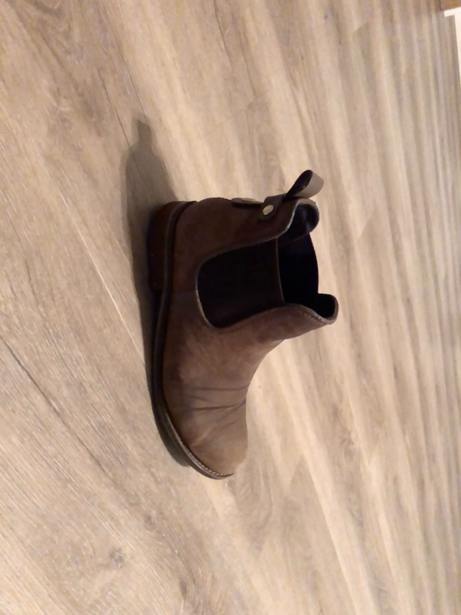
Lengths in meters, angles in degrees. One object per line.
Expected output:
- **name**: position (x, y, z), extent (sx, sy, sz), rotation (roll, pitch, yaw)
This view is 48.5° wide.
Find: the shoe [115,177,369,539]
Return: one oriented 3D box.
- **shoe**: position (0.017, 0.031, 0.403), extent (0.101, 0.139, 0.240), rotation (-26, 112, -57)
